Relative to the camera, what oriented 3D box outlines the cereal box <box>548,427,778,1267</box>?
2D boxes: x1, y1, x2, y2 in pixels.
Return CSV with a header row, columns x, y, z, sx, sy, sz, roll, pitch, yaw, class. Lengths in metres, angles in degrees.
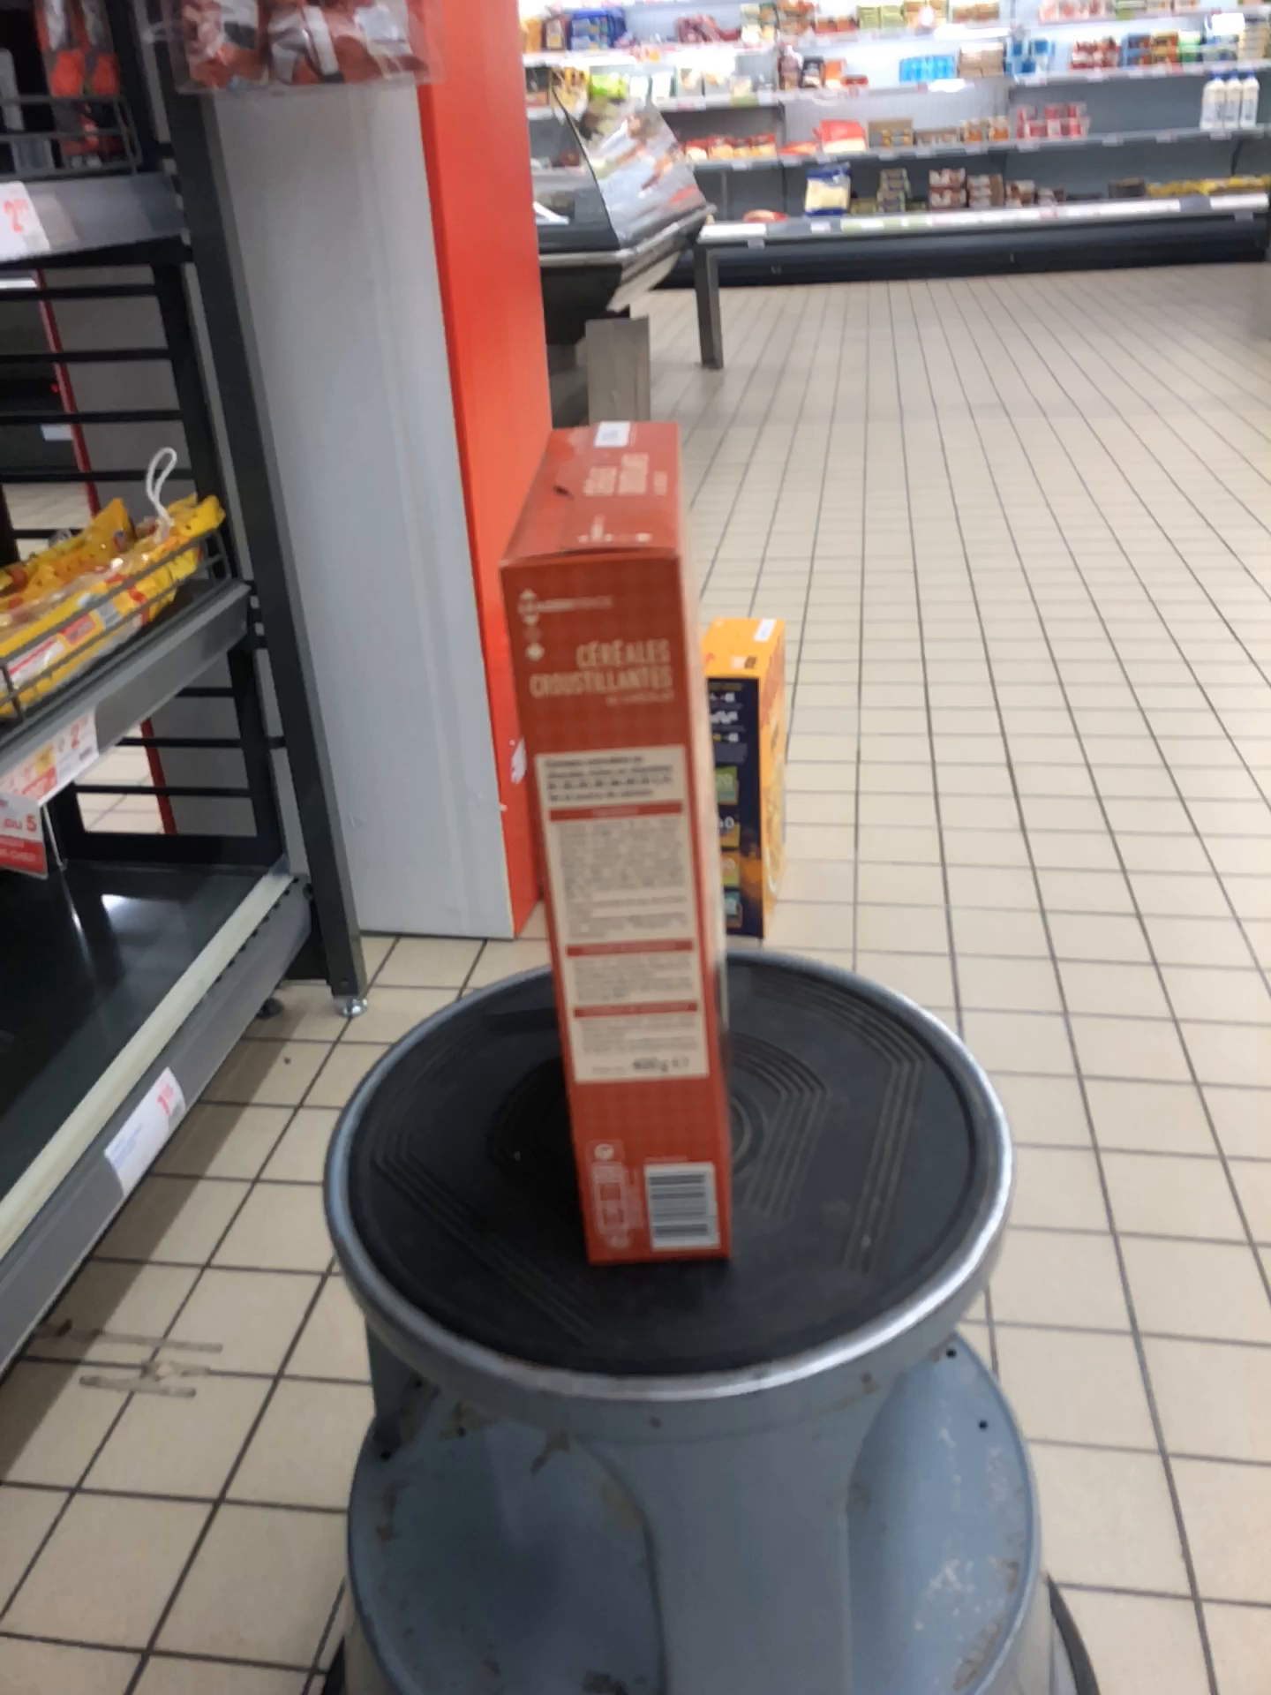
x,y,z,sx,sy,sz,roll,pitch,yaw,class
0.015,-0.008,0.526,0.060,0.259,0.191,-3,26,2,cereal box
